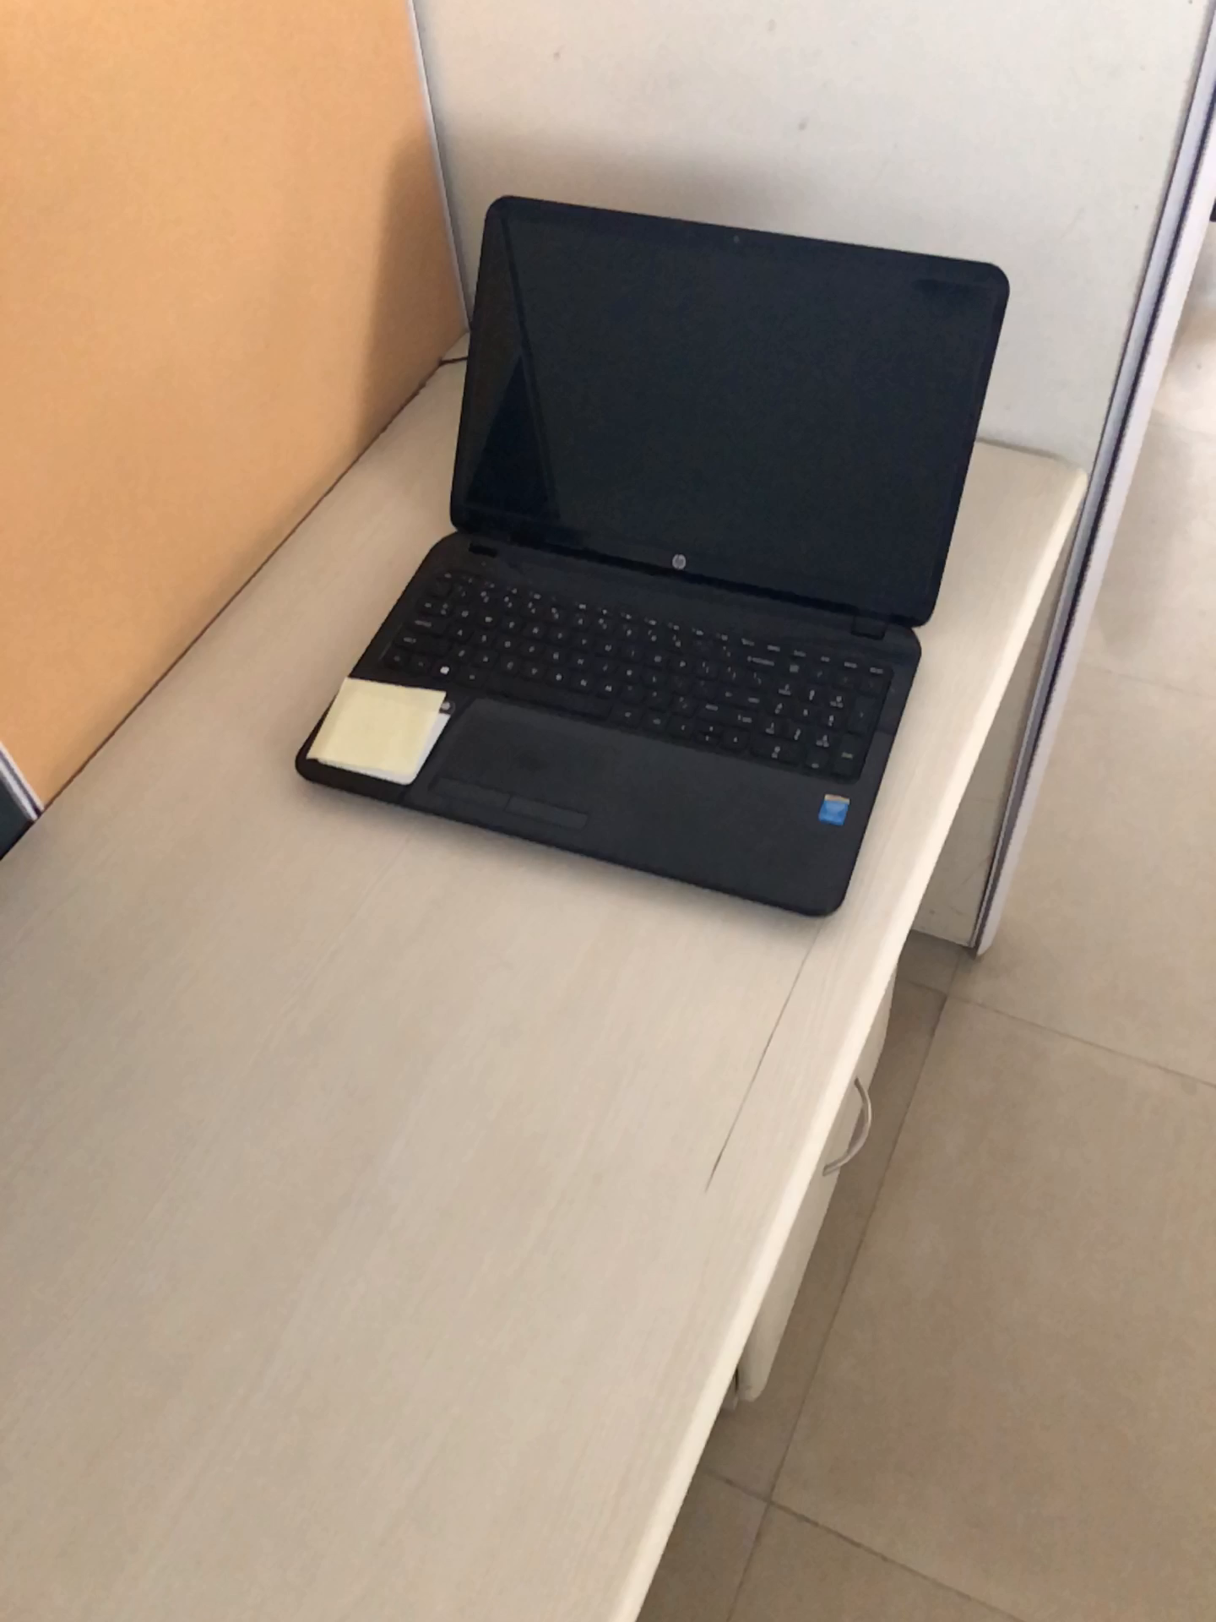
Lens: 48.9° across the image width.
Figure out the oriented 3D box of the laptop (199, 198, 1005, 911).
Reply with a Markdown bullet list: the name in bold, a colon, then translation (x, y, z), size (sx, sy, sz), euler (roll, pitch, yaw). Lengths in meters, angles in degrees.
- **laptop**: translation (0.025, -0.202, 0.927), size (0.391, 0.204, 0.418), euler (14, 54, 15)
